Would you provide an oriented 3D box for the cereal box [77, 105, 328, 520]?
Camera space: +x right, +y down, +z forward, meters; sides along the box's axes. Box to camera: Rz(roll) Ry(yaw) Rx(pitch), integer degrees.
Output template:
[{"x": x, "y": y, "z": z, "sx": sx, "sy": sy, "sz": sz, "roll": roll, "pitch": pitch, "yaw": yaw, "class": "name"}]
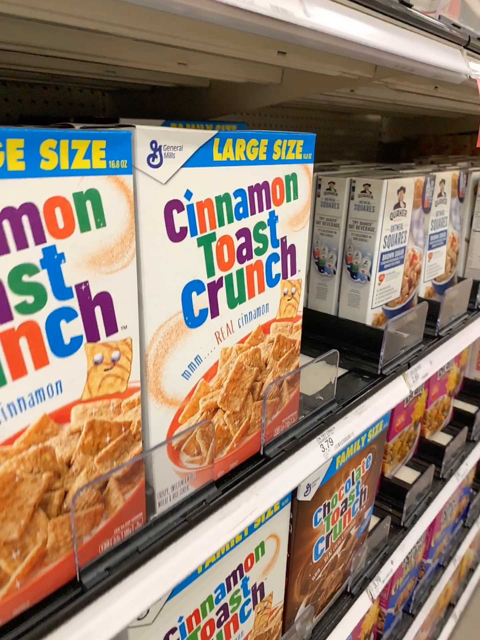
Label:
[{"x": -0.019, "y": -0.017, "z": 0.415, "sx": 0.070, "sy": 0.289, "sz": 0.190, "roll": 18, "pitch": 25, "yaw": 39, "class": "cereal box"}]
